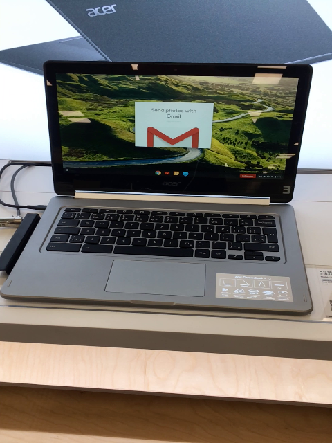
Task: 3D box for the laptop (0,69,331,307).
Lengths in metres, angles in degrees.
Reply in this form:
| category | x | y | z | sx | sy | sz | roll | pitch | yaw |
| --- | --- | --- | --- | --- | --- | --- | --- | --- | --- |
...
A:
| category | x | y | z | sx | sy | sz | roll | pitch | yaw |
| --- | --- | --- | --- | --- | --- | --- | --- | --- | --- |
| laptop | 0.000 | -0.056 | 0.544 | 0.357 | 0.189 | 0.275 | 3 | 41 | 5 |
